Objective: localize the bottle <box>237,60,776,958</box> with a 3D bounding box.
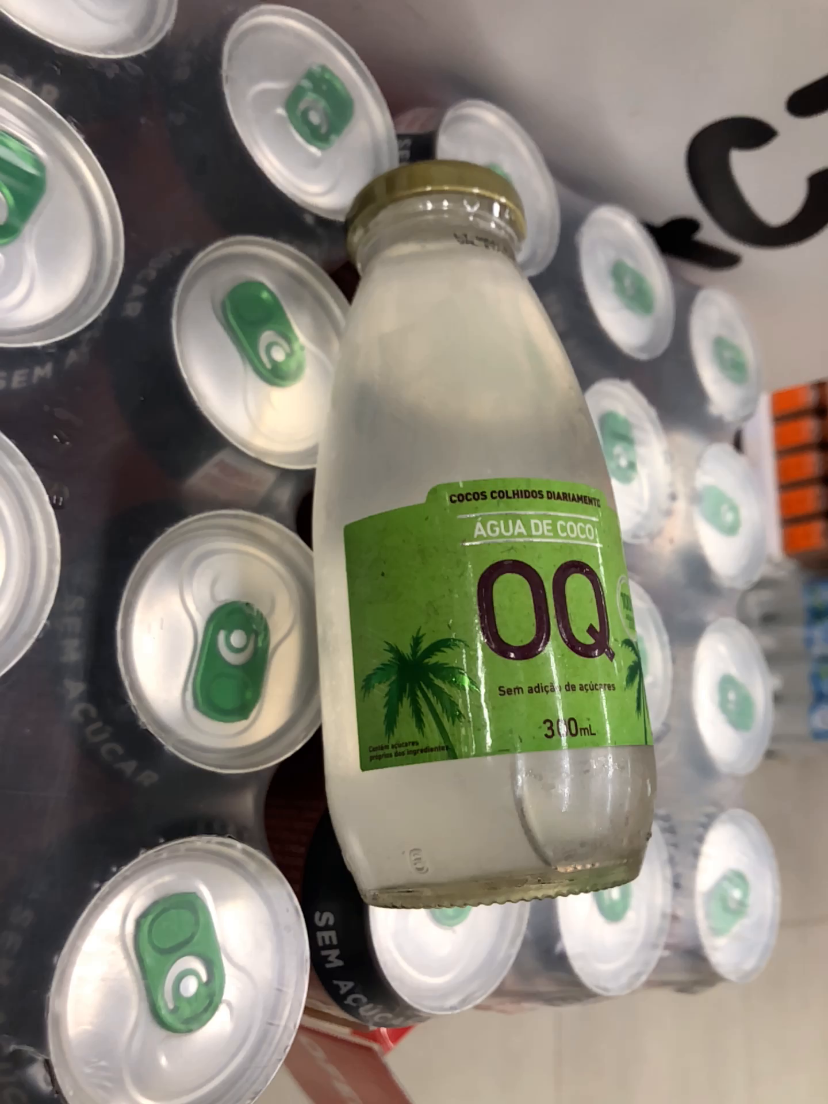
[{"bbox_3d":[0.011,-0.008,0.191,0.070,0.060,0.150,-1,77,-25],"label":"bottle"}]
